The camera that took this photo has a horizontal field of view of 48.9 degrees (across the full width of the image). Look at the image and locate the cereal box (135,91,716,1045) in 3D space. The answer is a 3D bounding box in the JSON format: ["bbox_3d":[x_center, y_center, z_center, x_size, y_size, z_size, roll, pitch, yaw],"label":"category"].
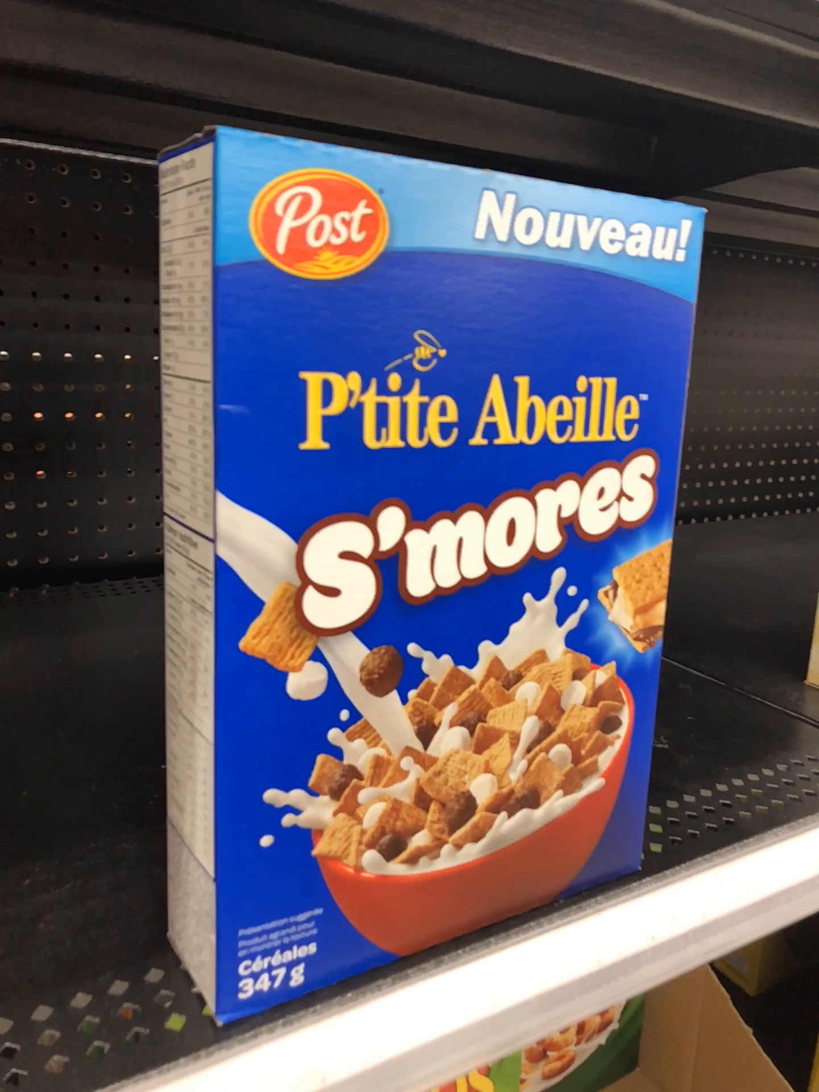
[{"bbox_3d":[0.010,0.006,0.336,0.200,0.279,0.060,-6,14,-33],"label":"cereal box"}]
